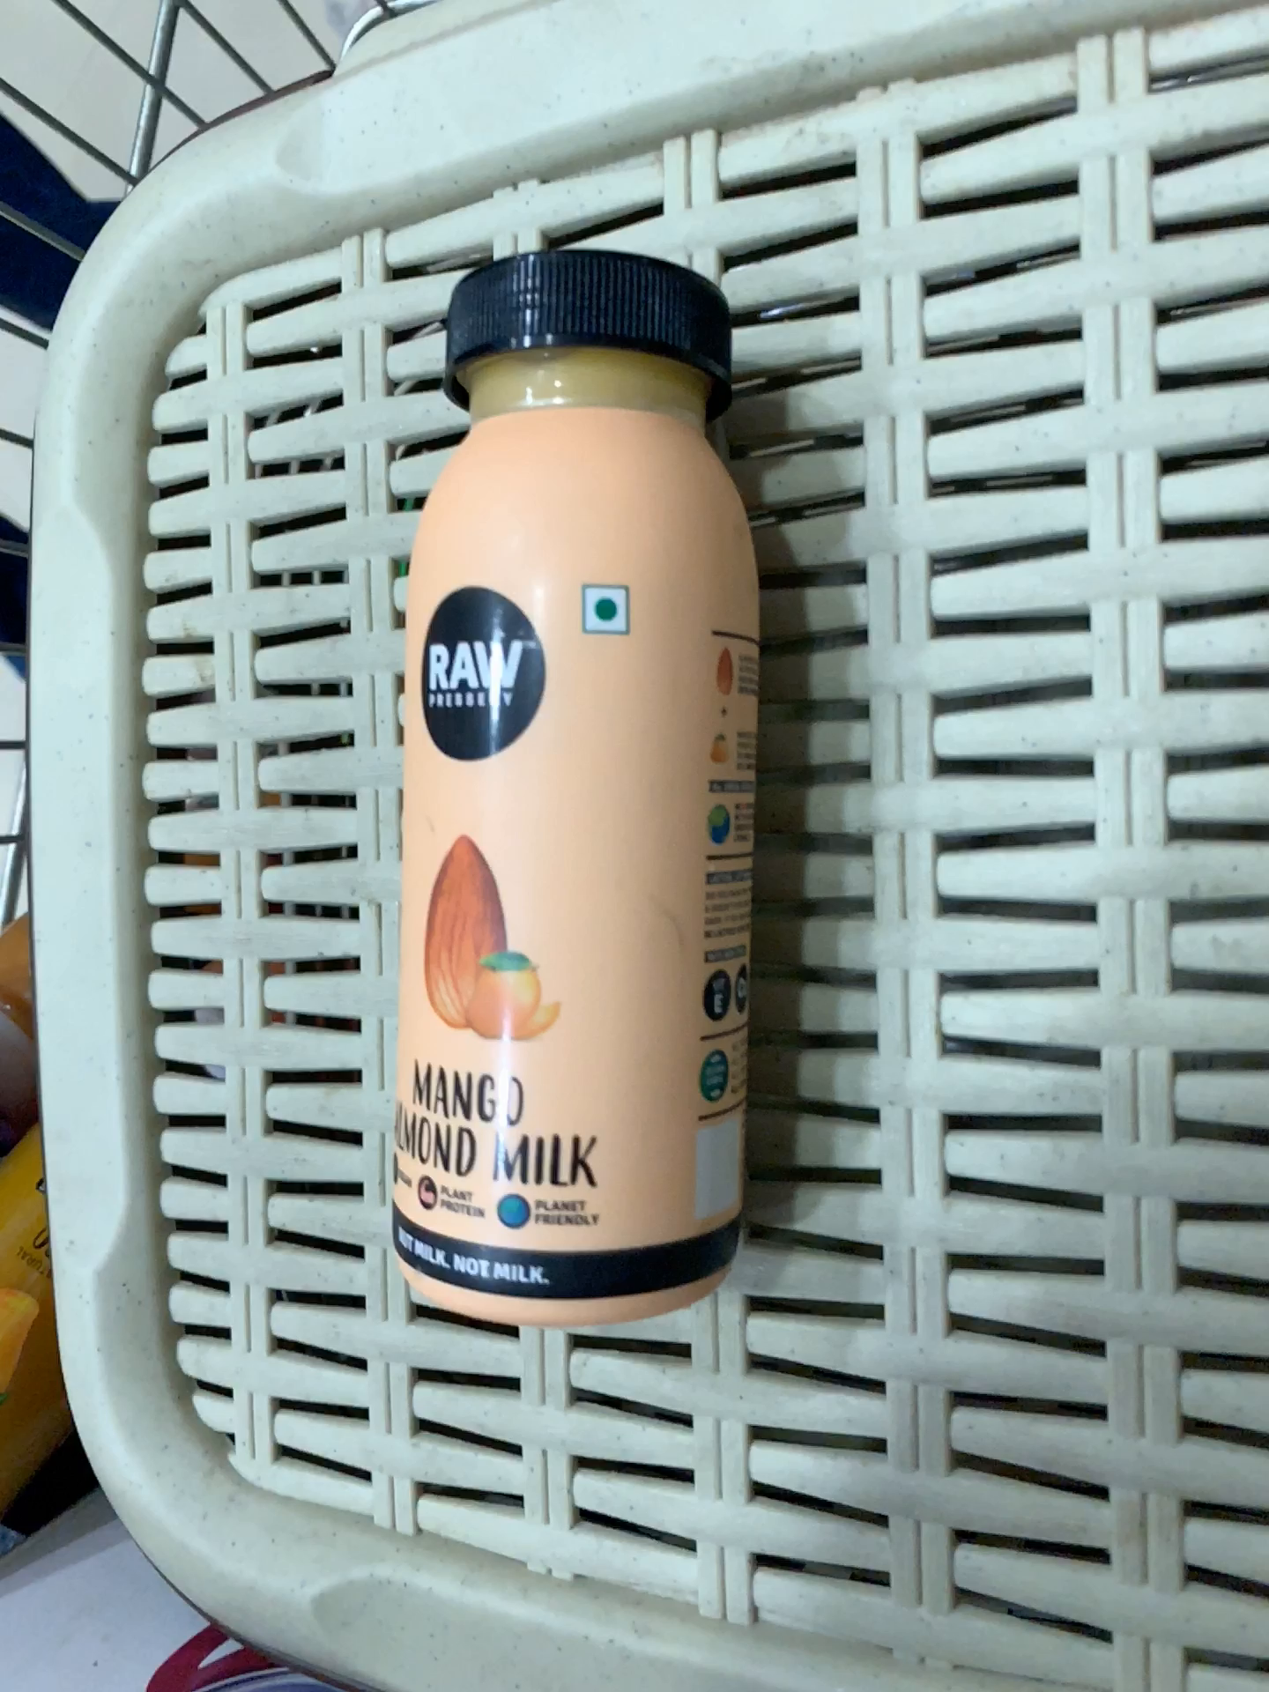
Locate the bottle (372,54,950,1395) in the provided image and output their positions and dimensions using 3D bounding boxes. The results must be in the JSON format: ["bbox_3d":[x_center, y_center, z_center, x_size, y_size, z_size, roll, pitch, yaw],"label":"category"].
[{"bbox_3d":[0.005,-0.014,0.178,0.060,0.040,0.150,4,92,23],"label":"bottle"}]
